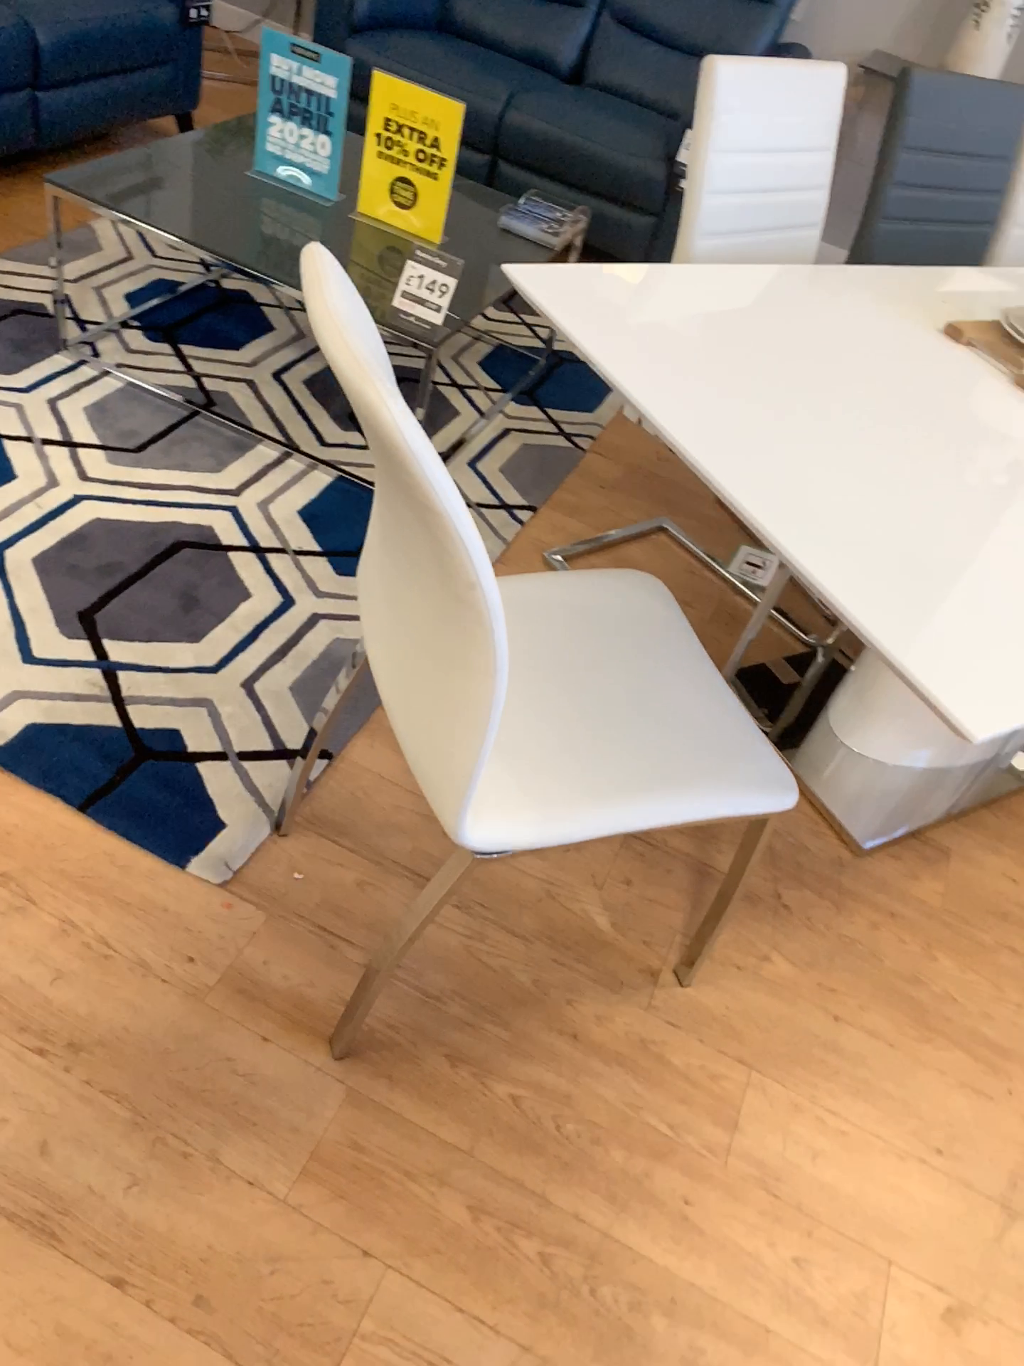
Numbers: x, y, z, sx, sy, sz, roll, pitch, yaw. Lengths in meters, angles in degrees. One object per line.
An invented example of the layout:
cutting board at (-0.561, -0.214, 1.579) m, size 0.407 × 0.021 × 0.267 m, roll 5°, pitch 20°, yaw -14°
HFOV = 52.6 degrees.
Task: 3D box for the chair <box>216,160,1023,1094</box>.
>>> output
chair at (0.045, -0.018, 1.225) m, size 0.671 × 0.881 × 0.494 m, roll -3°, pitch 46°, yaw -23°
